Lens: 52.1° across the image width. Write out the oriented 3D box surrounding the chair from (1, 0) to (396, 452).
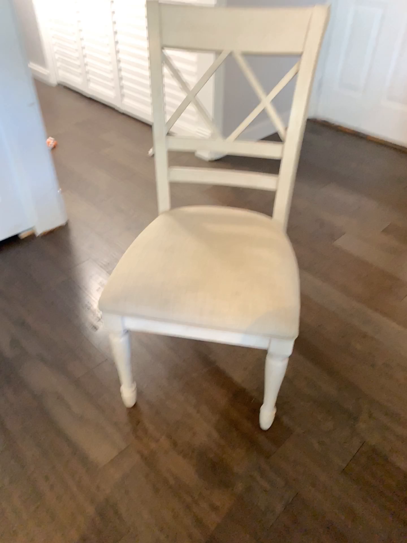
[{"bbox_3d":[0.034,-0.114,1.091,0.530,0.924,0.654,8,41,8],"label":"chair"}]
